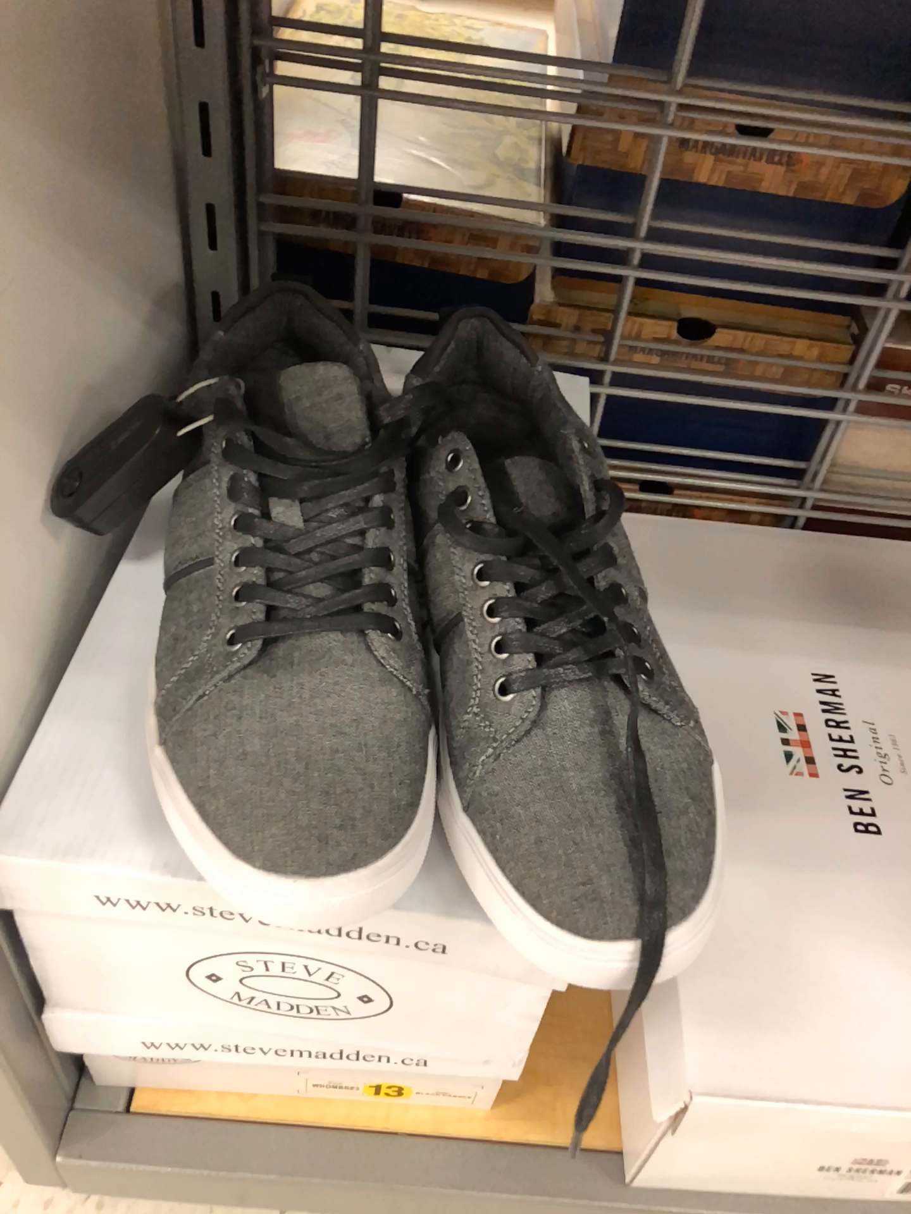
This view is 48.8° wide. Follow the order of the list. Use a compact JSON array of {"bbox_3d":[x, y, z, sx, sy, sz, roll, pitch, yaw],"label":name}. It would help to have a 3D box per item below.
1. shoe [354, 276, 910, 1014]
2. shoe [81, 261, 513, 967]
[{"bbox_3d":[0.038,-0.011,0.376,0.107,0.099,0.272,-5,47,-14],"label":"shoe"},{"bbox_3d":[-0.065,-0.019,0.376,0.107,0.099,0.262,-2,46,-11],"label":"shoe"}]
